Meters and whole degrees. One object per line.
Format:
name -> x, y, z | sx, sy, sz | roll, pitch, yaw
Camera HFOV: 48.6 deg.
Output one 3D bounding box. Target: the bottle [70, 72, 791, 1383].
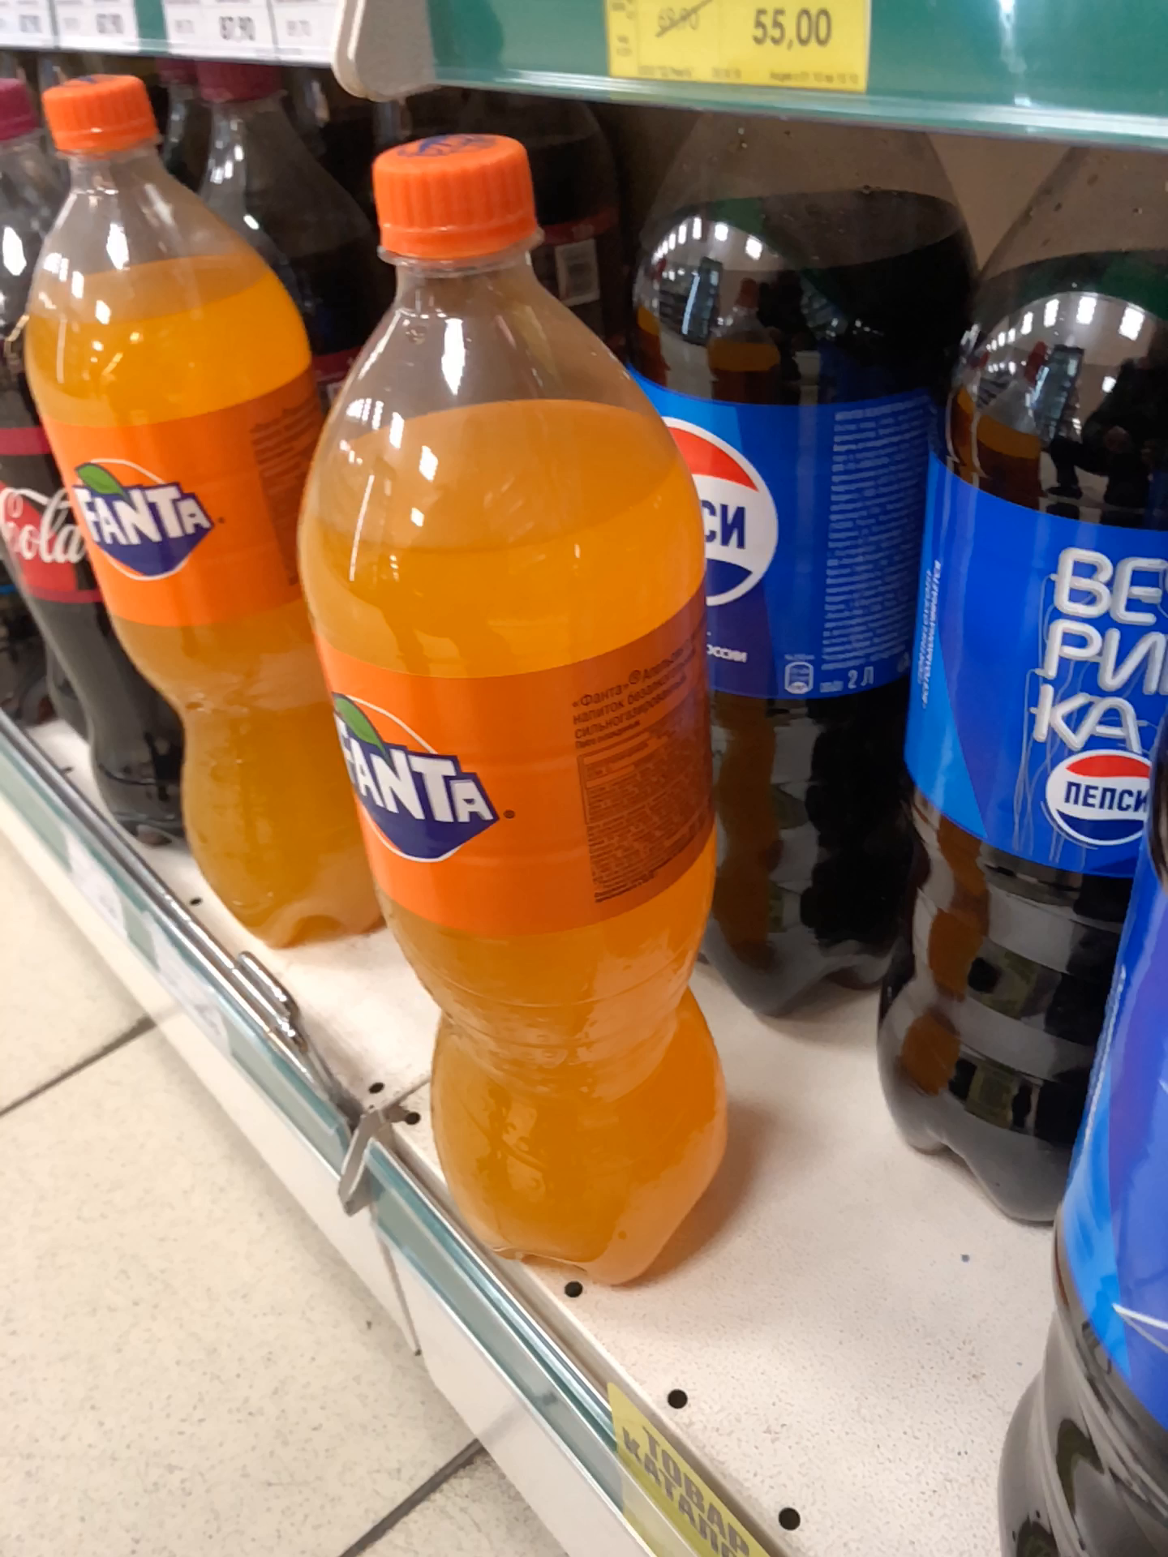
bottle -> -0.016, 0.004, 0.327 | 0.090, 0.308, 0.100 | -32, 42, -31
